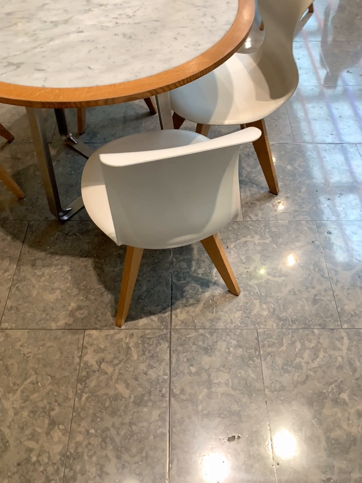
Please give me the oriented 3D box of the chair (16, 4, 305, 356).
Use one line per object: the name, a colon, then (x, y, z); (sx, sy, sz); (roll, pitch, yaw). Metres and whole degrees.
chair: (-0.088, -0.100, 1.163); (0.500, 0.913, 0.544); (-13, 58, -9)
